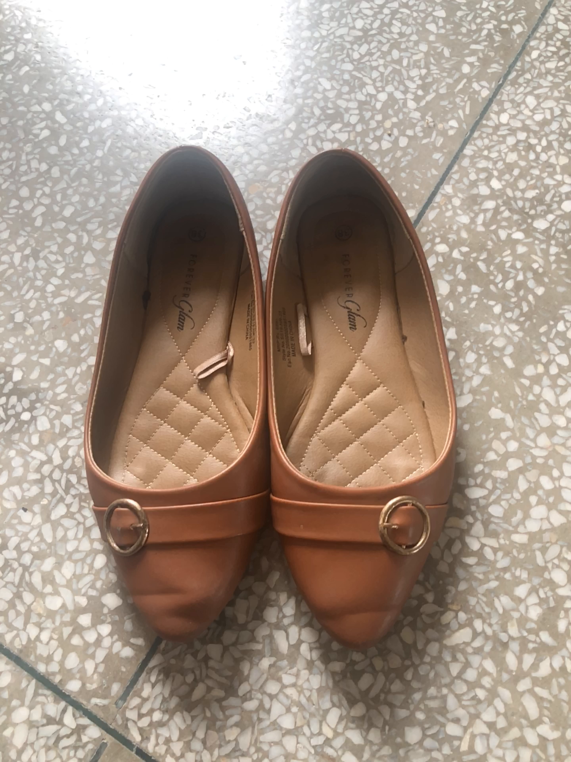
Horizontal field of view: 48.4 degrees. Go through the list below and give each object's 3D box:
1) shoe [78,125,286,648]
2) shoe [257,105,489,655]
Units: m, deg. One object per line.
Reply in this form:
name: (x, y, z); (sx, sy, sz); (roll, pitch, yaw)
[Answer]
shoe: (-0.053, 0.001, 0.332); (0.090, 0.050, 0.250); (-4, 81, 9)
shoe: (0.040, -0.002, 0.317); (0.090, 0.050, 0.250); (-4, 81, 9)
